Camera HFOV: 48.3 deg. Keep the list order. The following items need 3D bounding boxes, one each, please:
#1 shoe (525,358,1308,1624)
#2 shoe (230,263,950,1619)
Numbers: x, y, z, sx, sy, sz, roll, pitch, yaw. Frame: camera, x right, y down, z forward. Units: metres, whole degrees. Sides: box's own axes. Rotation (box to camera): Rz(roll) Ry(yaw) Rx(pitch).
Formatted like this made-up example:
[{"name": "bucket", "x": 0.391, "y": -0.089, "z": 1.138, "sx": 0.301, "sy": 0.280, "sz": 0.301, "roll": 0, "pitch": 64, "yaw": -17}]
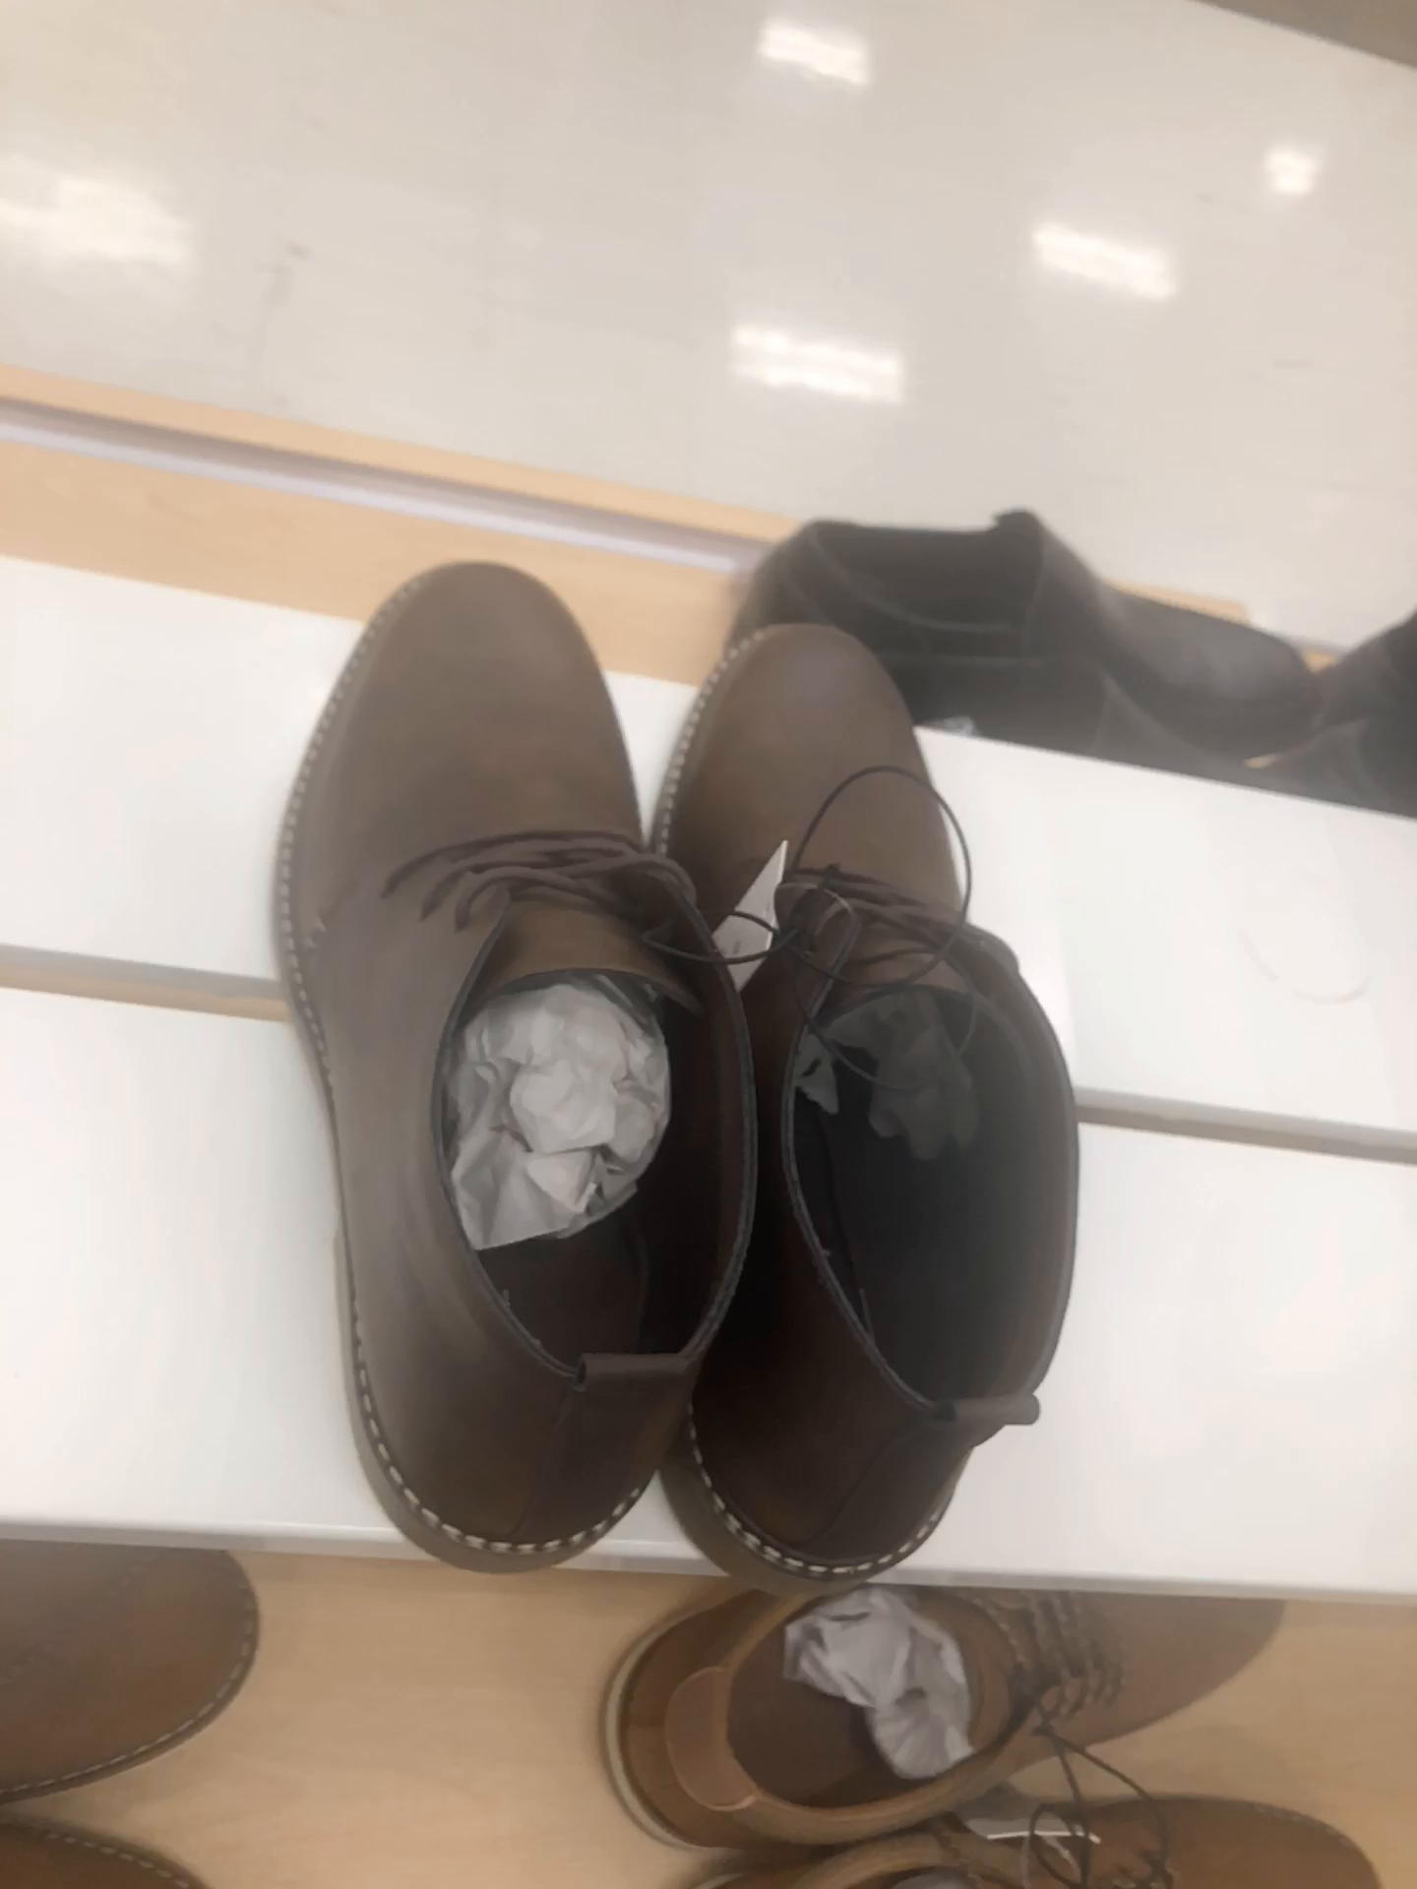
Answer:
[{"name": "shoe", "x": 0.048, "y": 0.016, "z": 0.472, "sx": 0.132, "sy": 0.173, "sz": 0.315, "roll": 13, "pitch": 58, "yaw": -14}, {"name": "shoe", "x": -0.059, "y": 0.001, "z": 0.440, "sx": 0.128, "sy": 0.173, "sz": 0.315, "roll": 2, "pitch": 60, "yaw": -20}]
